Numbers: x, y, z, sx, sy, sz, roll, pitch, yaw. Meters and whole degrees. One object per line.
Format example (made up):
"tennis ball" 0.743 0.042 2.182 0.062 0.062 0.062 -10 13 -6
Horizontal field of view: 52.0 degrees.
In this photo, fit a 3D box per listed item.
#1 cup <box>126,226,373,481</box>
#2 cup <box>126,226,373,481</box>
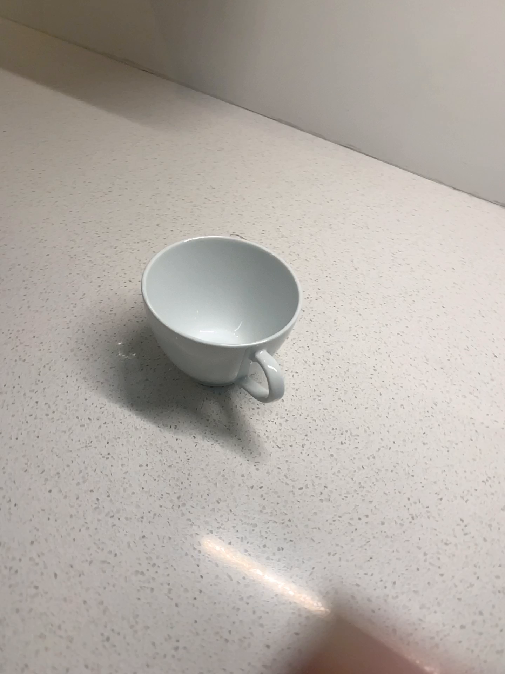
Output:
"cup" -0.009 0.001 0.305 0.090 0.050 0.130 -16 53 -22
"cup" -0.009 0.001 0.305 0.090 0.050 0.130 -16 53 -22
